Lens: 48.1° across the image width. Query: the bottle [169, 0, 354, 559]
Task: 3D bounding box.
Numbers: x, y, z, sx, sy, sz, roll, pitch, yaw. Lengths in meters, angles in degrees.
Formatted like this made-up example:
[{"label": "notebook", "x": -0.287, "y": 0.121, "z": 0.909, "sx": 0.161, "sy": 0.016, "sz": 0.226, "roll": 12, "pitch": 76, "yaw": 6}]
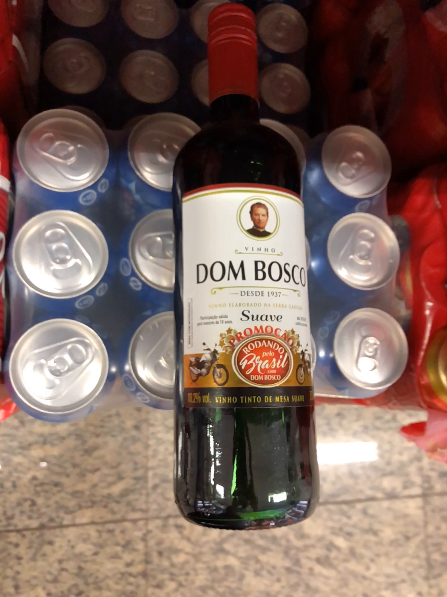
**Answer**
[{"label": "bottle", "x": 0.015, "y": -0.028, "z": 0.285, "sx": 0.080, "sy": 0.070, "sz": 0.300, "roll": 2, "pitch": 81, "yaw": -13}]
